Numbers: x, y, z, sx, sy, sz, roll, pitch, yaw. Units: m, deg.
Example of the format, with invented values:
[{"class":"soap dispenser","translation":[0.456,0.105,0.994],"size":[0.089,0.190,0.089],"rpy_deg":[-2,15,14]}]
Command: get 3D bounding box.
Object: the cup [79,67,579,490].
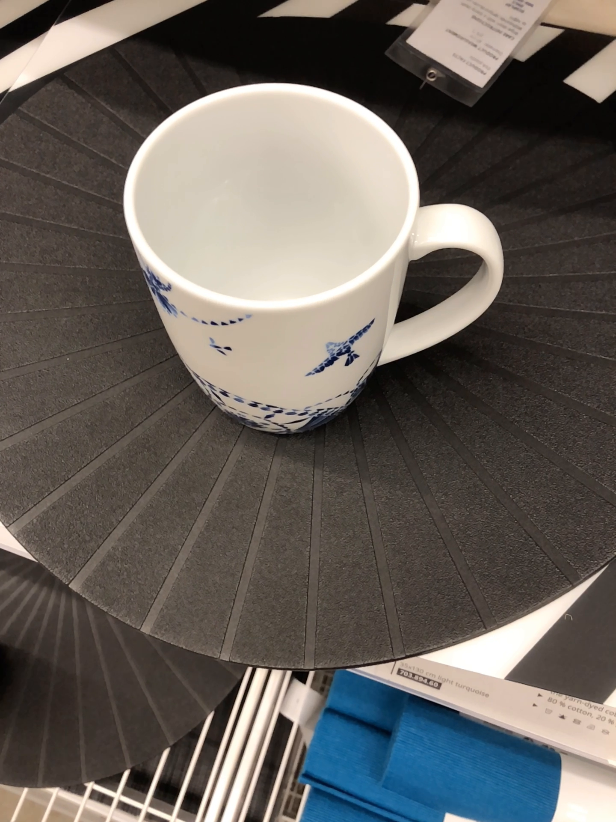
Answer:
[{"class":"cup","translation":[0.010,-0.042,0.245],"size":[0.130,0.100,0.100],"rpy_deg":[5,64,4]}]
